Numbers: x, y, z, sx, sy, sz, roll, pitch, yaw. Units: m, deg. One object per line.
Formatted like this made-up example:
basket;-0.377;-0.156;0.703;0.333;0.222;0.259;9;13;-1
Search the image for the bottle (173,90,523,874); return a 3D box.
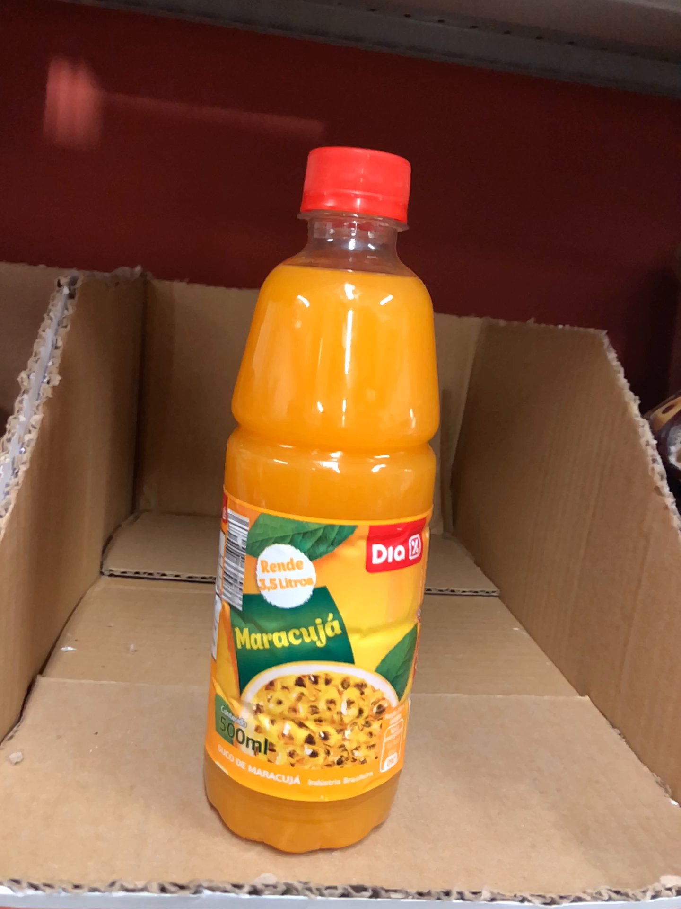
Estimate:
bottle;-0.001;0.009;0.228;0.070;0.199;0.070;6;11;-1
